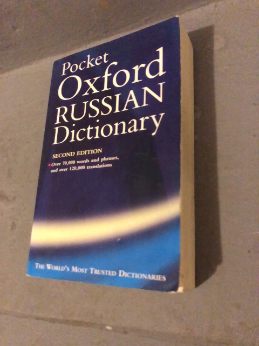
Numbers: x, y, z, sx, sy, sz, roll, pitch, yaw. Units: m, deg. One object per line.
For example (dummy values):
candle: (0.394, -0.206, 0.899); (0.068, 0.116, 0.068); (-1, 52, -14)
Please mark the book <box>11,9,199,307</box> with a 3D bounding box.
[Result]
book: (-0.018, -0.013, 0.226); (0.137, 0.032, 0.195); (-5, 73, 29)
